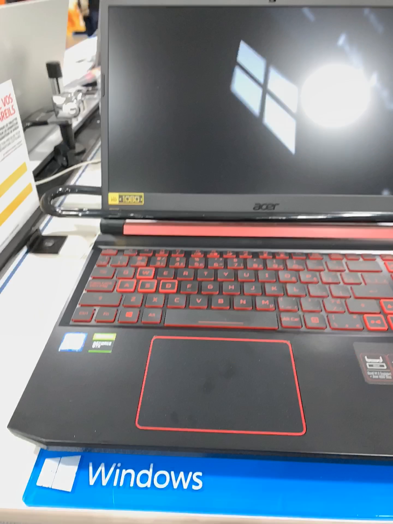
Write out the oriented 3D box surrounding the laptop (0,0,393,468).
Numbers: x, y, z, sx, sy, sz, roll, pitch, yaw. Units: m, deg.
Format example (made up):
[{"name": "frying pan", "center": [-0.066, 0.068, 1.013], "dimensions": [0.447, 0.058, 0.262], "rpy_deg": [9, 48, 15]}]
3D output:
[{"name": "laptop", "center": [0.063, -0.091, 0.339], "dimensions": [0.358, 0.198, 0.381], "rpy_deg": [2, 37, 4]}]
